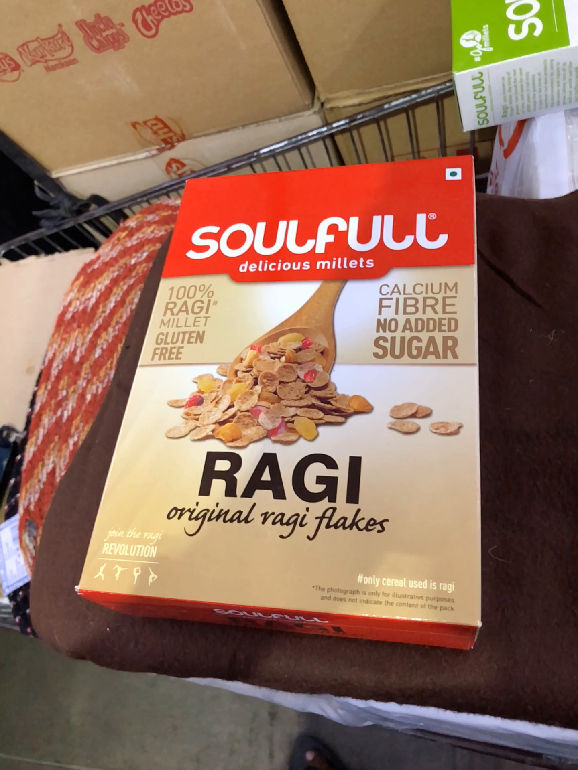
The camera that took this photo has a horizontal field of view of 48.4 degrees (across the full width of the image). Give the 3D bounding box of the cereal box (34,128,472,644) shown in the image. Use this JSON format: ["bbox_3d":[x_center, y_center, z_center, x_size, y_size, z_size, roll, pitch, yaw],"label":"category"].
[{"bbox_3d":[-0.002,-0.013,0.315,0.170,0.050,0.241,0,63,14],"label":"cereal box"}]
